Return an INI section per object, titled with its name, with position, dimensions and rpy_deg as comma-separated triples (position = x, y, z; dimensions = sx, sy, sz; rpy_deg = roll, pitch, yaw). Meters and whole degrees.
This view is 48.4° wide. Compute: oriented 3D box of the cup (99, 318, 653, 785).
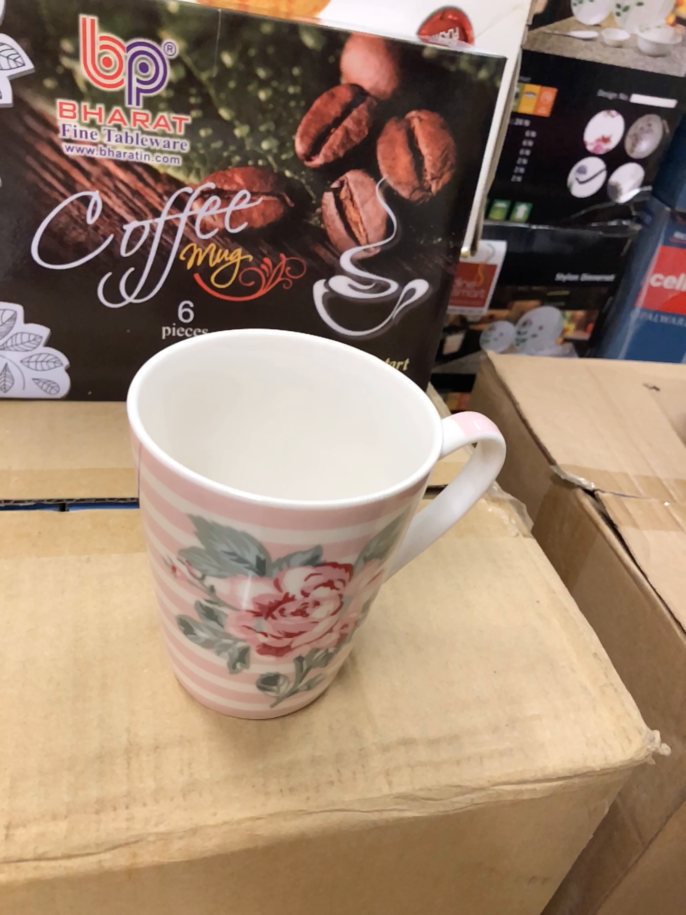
[cup]
position = -0.001, 0.019, 0.235
dimensions = 0.130, 0.089, 0.090
rpy_deg = -5, 38, -22
